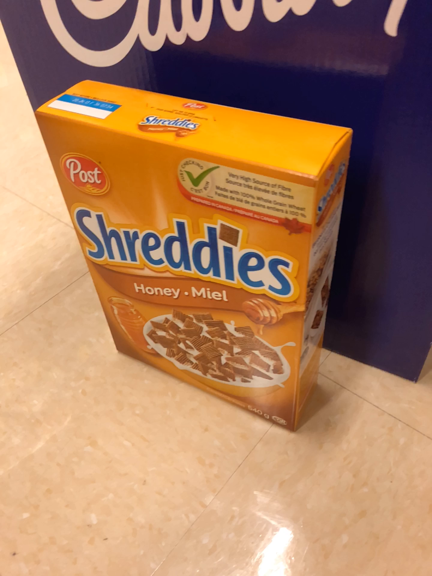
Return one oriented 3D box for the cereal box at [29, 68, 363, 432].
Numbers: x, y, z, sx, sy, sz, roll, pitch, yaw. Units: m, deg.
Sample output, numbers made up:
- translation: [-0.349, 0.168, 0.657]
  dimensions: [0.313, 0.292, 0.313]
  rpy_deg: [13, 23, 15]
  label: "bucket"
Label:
- translation: [-0.010, -0.018, 0.404]
  dimensions: [0.211, 0.278, 0.070]
  rpy_deg: [19, 50, 23]
  label: "cereal box"
